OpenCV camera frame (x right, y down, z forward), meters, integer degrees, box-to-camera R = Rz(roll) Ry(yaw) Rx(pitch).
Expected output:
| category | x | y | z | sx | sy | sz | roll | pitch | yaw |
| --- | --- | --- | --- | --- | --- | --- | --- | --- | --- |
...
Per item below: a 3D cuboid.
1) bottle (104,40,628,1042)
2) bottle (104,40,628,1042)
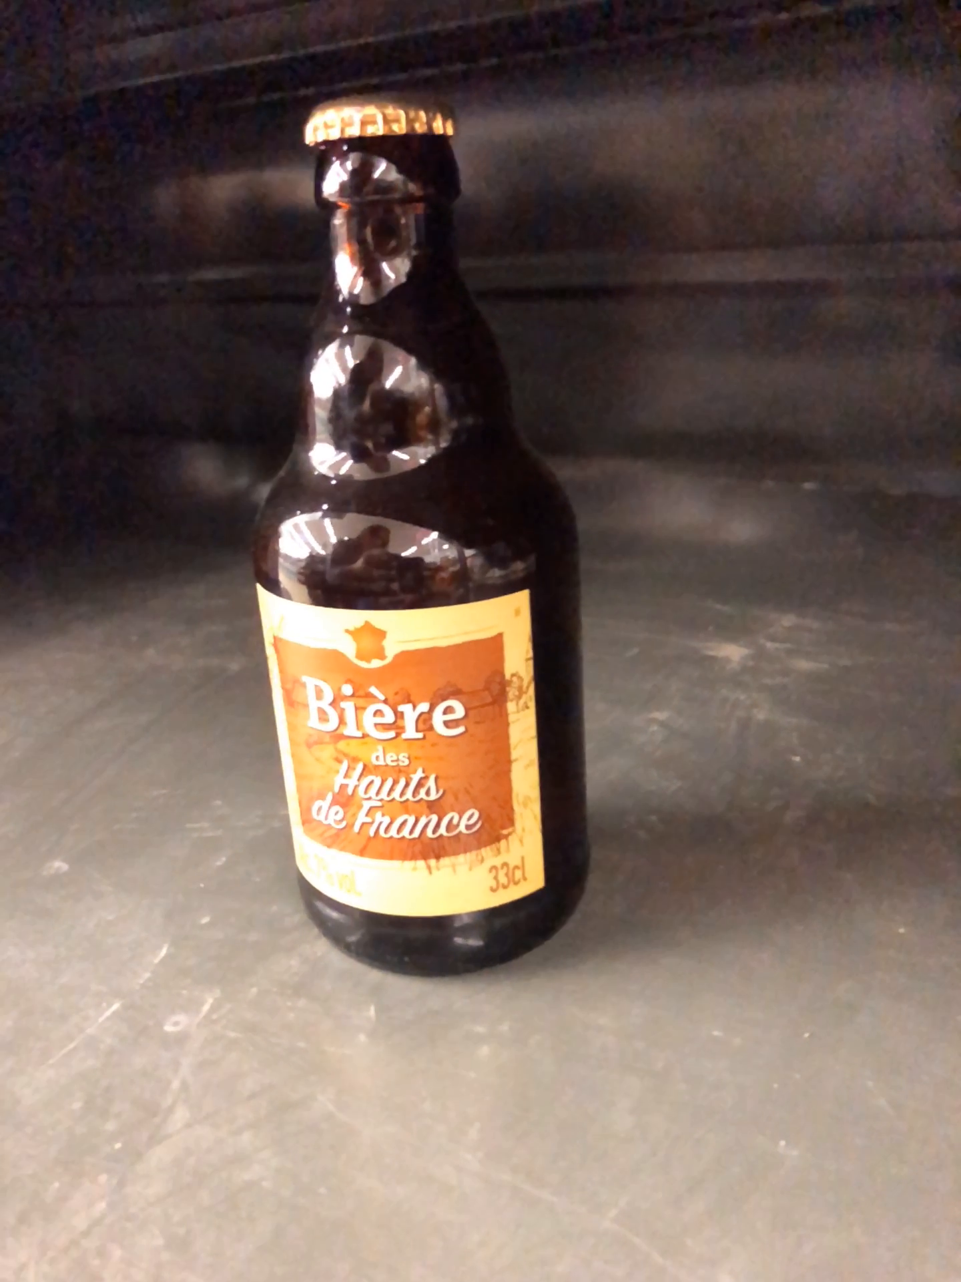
| category | x | y | z | sx | sy | sz | roll | pitch | yaw |
| --- | --- | --- | --- | --- | --- | --- | --- | --- | --- |
| bottle | -0.012 | -0.017 | 0.228 | 0.070 | 0.179 | 0.070 | -4 | 20 | 1 |
| bottle | -0.012 | -0.017 | 0.228 | 0.070 | 0.179 | 0.070 | -4 | 20 | 1 |
